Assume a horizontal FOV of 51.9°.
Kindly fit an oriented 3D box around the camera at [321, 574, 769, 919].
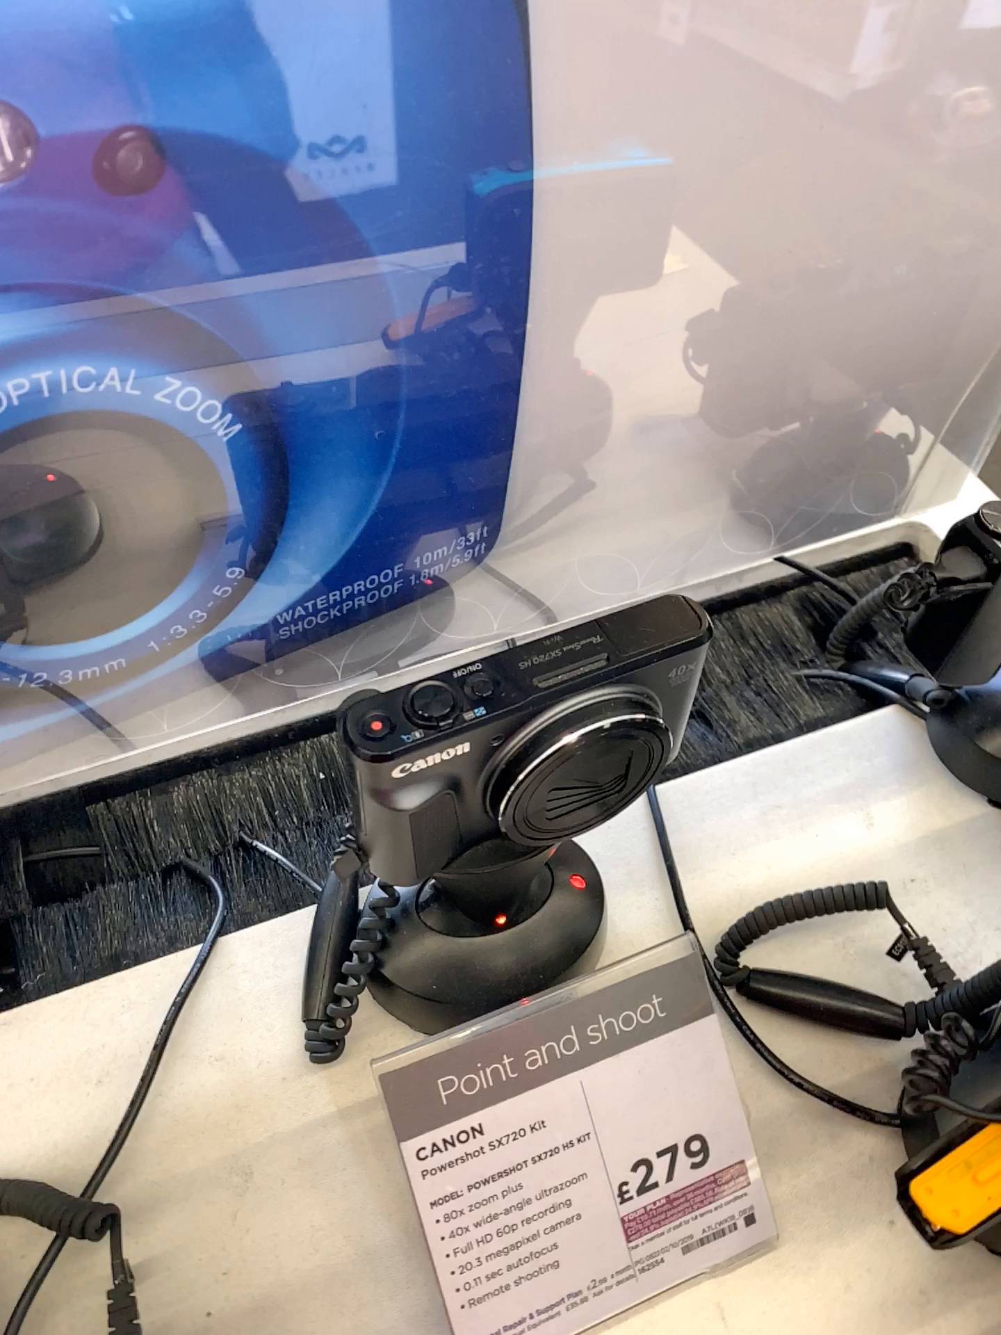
[{"bbox_3d":[0.012,0.022,0.285,0.113,0.061,0.031,-19,54,-17],"label":"camera"}]
